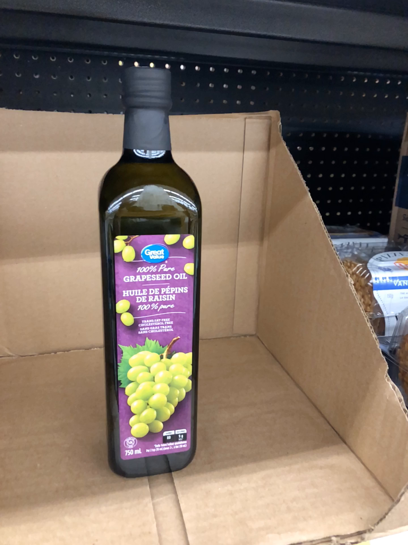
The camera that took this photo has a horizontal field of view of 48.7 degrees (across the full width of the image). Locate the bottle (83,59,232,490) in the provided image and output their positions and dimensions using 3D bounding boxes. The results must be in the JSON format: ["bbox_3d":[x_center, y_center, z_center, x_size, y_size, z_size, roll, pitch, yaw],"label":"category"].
[{"bbox_3d":[-0.036,0.010,0.313,0.080,0.278,0.060,-3,19,-14],"label":"bottle"}]
